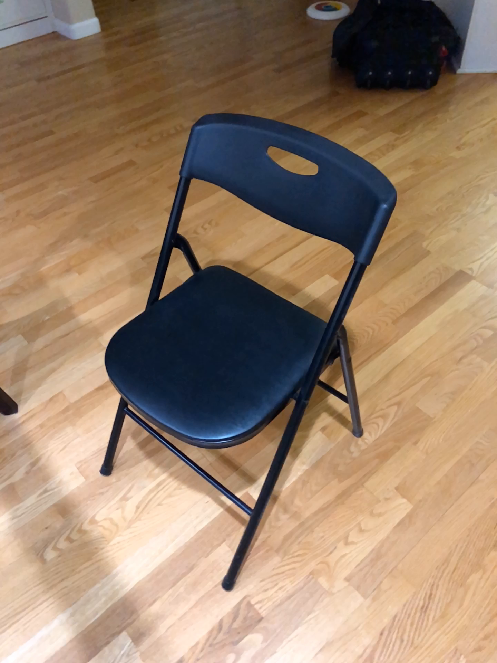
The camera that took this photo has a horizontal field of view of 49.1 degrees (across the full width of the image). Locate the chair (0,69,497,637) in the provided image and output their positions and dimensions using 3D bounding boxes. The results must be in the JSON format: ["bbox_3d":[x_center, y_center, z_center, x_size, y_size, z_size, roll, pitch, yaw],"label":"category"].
[{"bbox_3d":[-0.033,0.007,1.079,0.612,0.657,0.682,31,56,28],"label":"chair"}]
